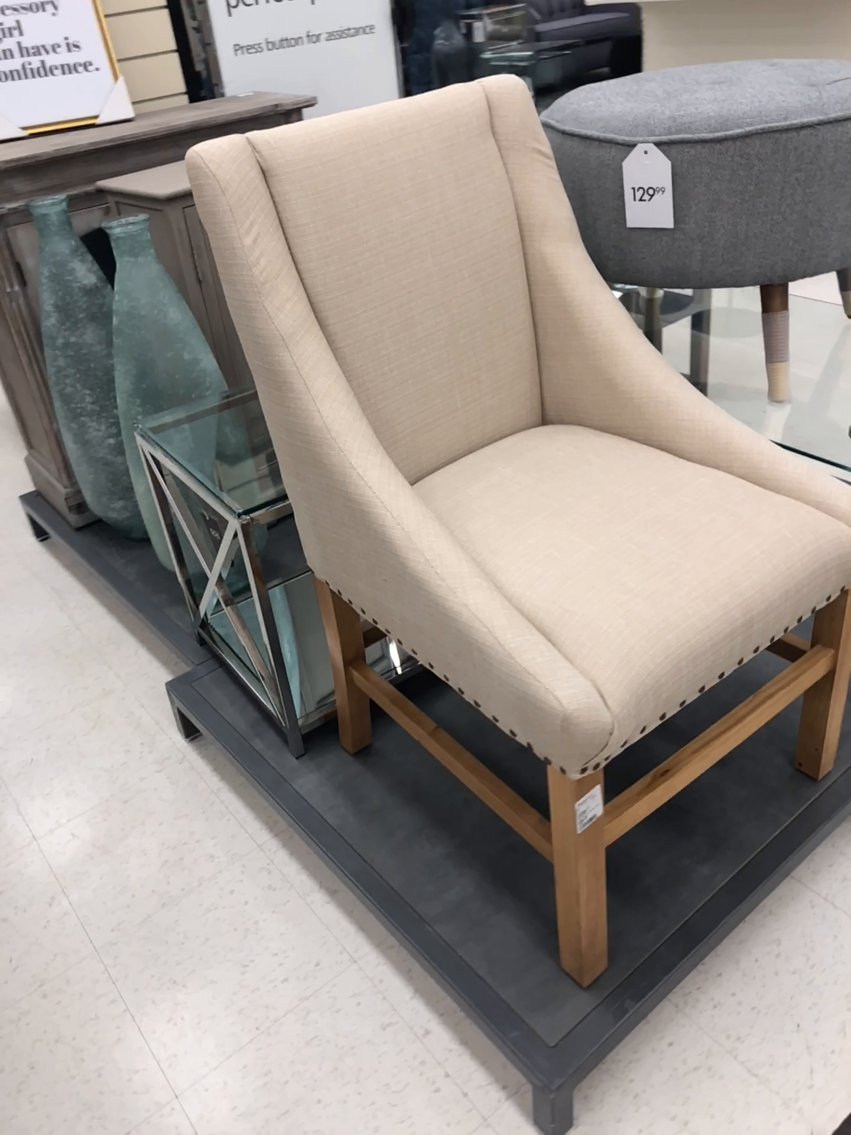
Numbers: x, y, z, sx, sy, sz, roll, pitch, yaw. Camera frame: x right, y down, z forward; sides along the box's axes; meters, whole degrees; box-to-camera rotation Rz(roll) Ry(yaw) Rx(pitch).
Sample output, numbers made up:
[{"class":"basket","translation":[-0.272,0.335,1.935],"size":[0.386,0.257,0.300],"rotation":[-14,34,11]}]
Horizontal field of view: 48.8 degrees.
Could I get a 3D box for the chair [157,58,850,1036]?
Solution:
[{"class":"chair","translation":[0.187,-0.083,1.247],"size":[0.611,0.966,0.652],"rotation":[-28,38,-29]}]
